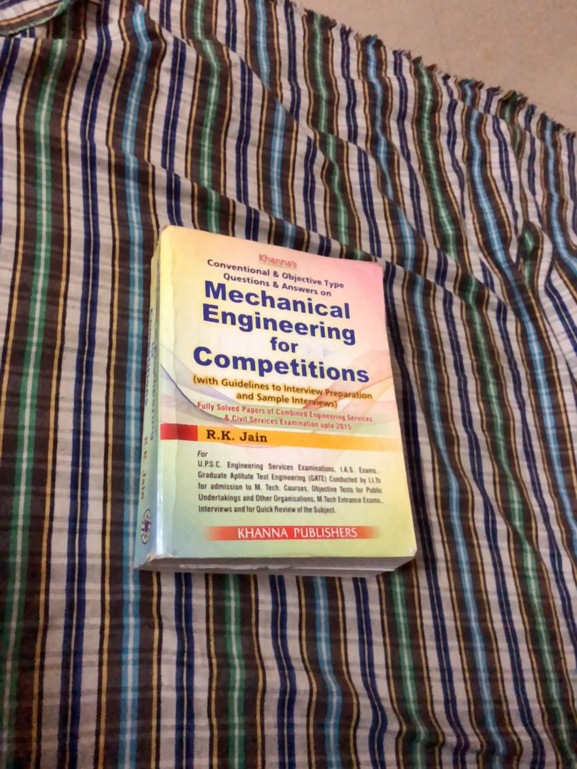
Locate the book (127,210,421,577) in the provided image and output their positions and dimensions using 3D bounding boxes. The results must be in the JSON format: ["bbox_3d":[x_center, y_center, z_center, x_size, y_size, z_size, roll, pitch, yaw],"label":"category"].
[{"bbox_3d":[-0.016,0.013,0.542,0.211,0.077,0.280,8,64,-23],"label":"book"}]
